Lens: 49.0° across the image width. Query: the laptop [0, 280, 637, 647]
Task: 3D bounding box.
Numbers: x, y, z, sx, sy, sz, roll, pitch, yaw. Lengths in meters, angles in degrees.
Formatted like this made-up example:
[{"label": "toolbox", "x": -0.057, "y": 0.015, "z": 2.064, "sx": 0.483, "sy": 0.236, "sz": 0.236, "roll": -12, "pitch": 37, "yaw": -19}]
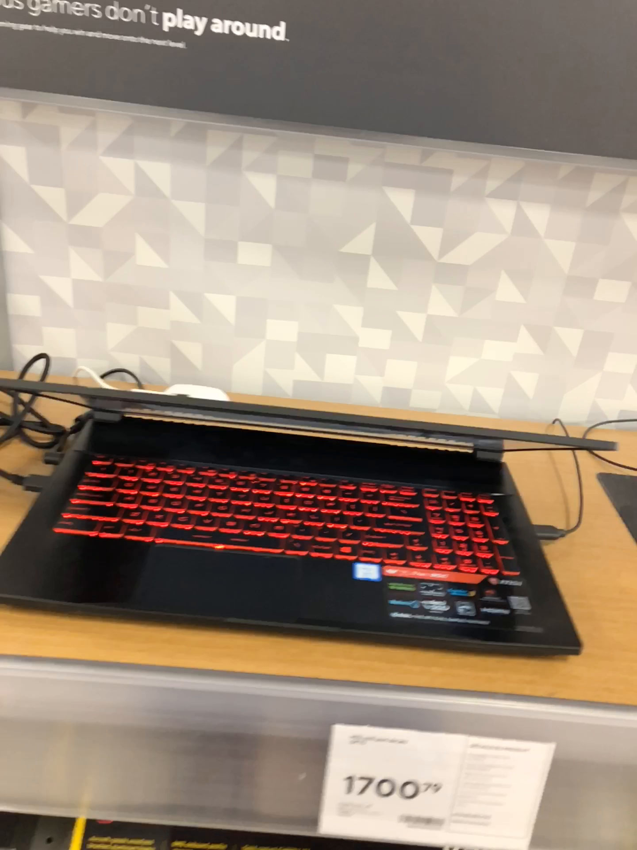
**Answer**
[{"label": "laptop", "x": -0.014, "y": 0.010, "z": 0.532, "sx": 0.393, "sy": 0.133, "sz": 0.249, "roll": 6, "pitch": 28, "yaw": -2}]
